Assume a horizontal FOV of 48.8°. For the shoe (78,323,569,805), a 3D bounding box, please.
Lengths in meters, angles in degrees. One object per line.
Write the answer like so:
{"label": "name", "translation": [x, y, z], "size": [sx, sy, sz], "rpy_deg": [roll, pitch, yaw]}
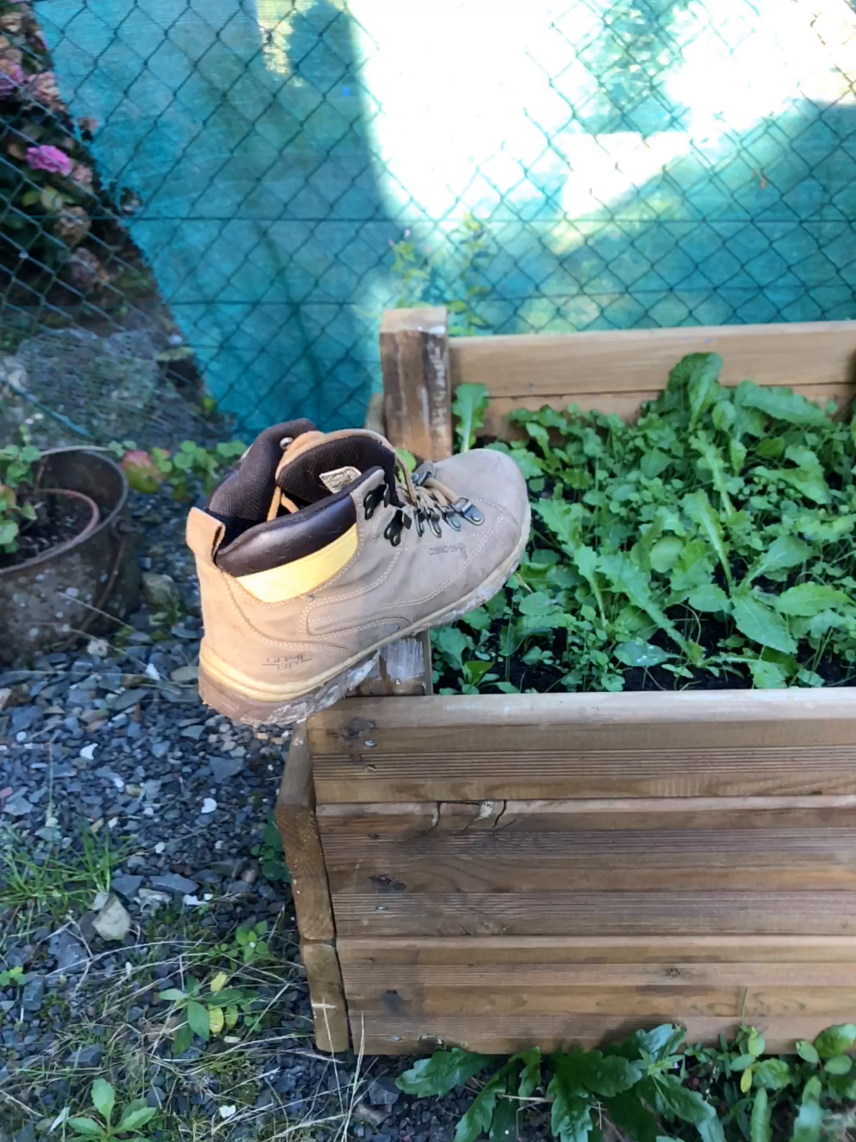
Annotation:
{"label": "shoe", "translation": [-0.038, -0.022, 0.561], "size": [0.100, 0.149, 0.282], "rpy_deg": [24, 43, 34]}
